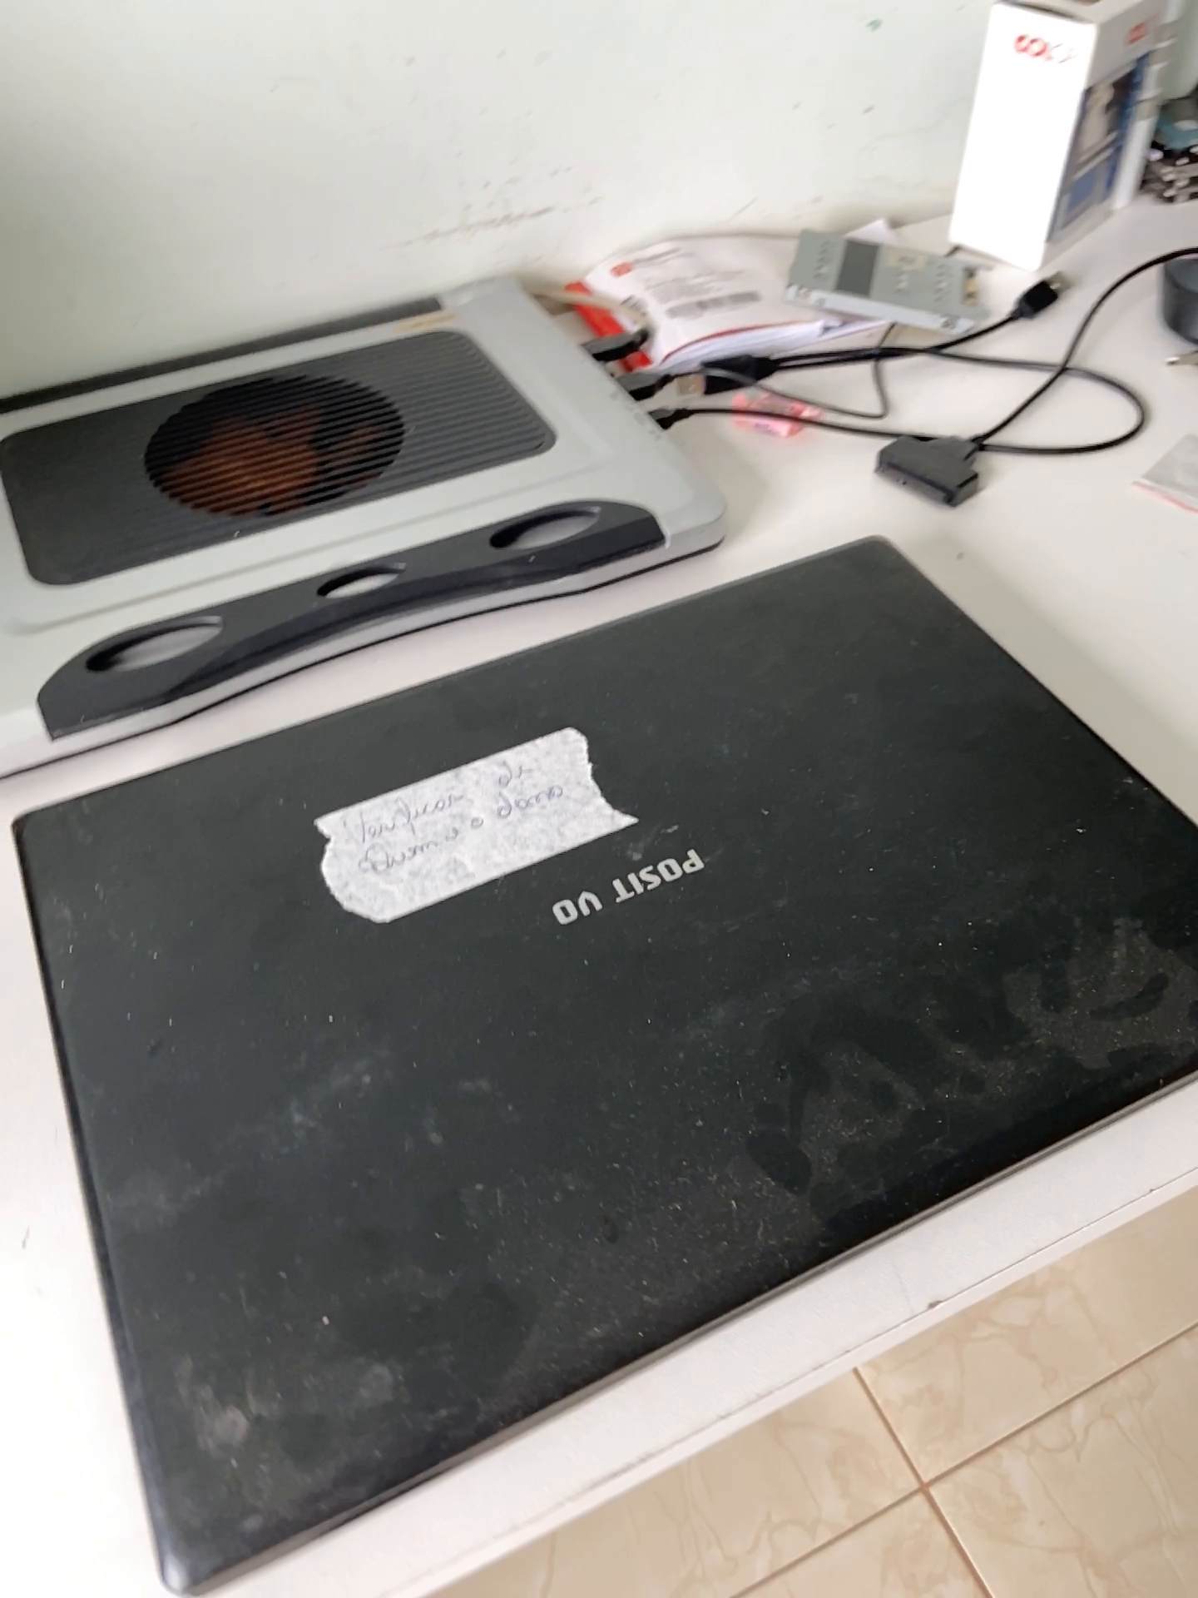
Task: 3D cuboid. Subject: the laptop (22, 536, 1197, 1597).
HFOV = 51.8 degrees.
[{"bbox_3d":[0.011,0.032,0.375,0.329,0.008,0.234,-20,51,-16],"label":"laptop"}]
